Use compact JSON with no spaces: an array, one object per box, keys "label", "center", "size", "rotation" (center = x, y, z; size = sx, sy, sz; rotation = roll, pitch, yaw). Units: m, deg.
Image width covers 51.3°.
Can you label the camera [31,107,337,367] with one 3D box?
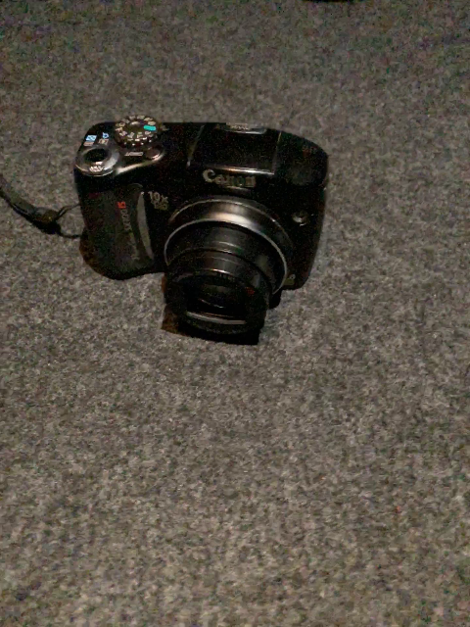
[{"label":"camera","center":[-0.015,-0.033,0.224],"size":[0.108,0.079,0.070],"rotation":[7,53,4]}]
